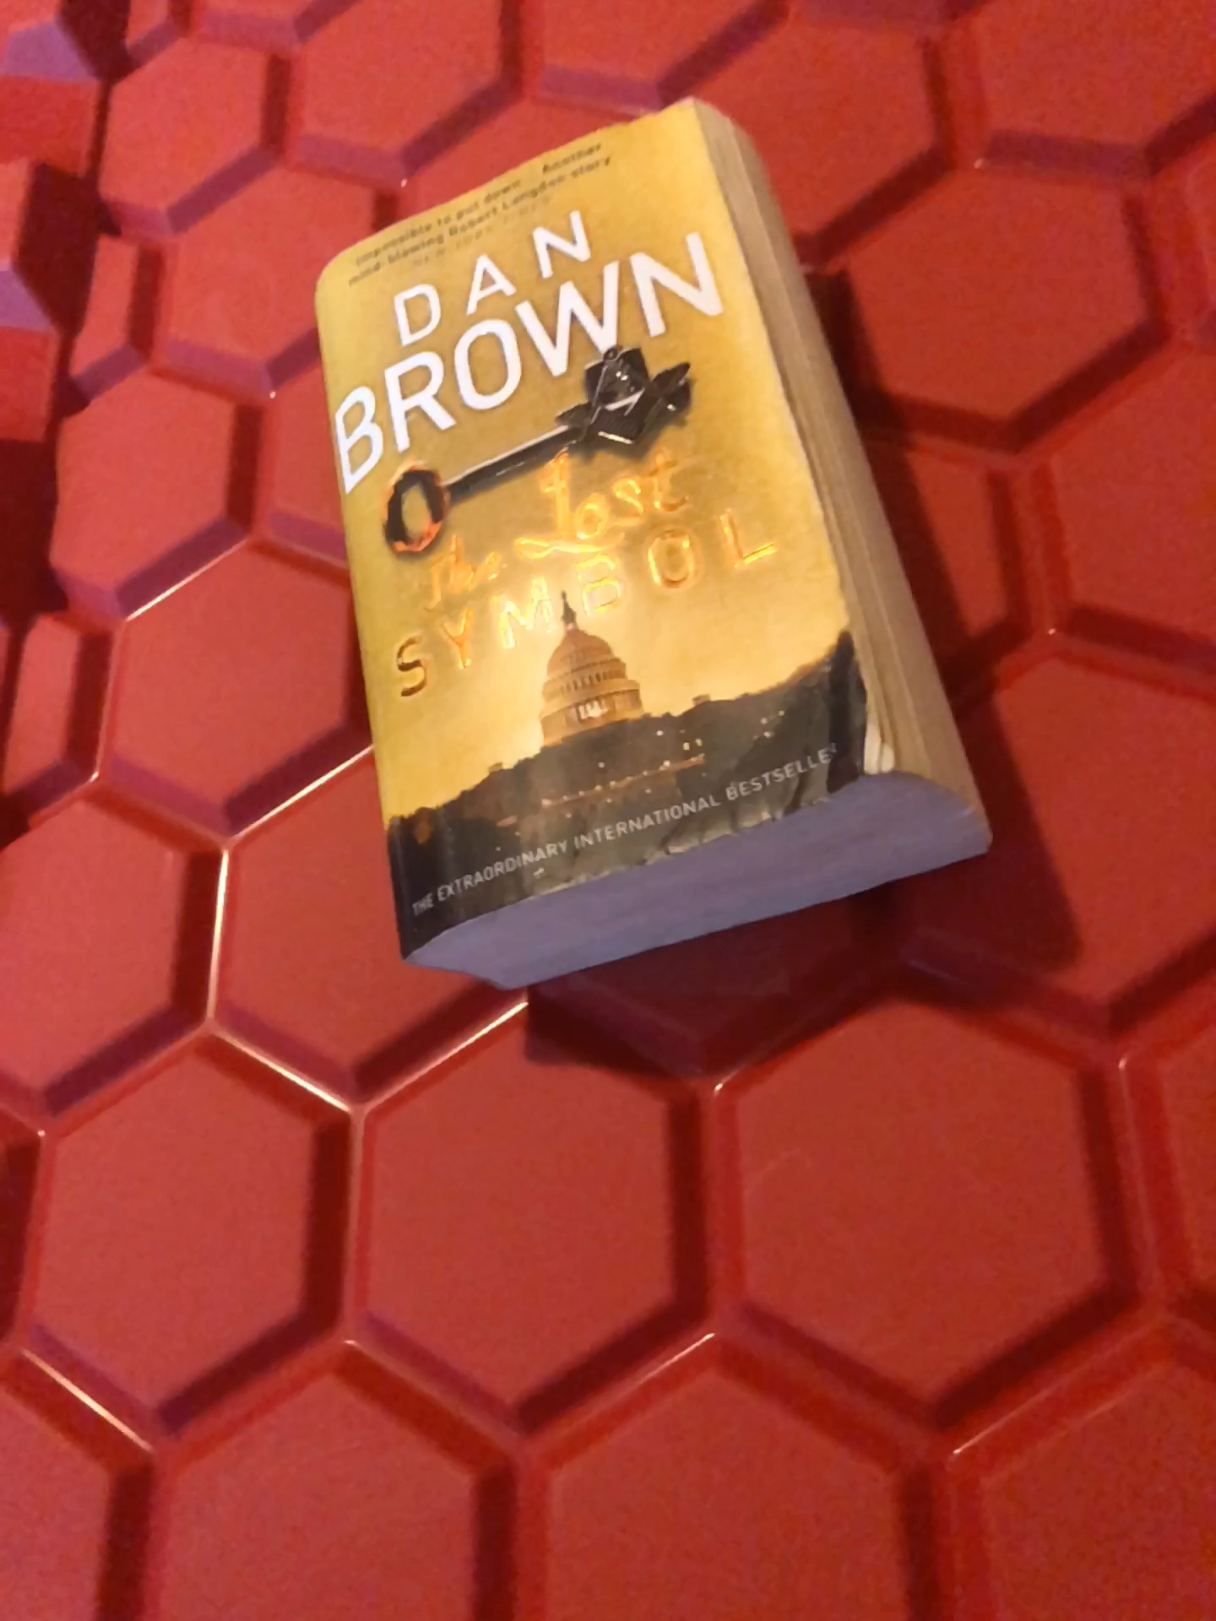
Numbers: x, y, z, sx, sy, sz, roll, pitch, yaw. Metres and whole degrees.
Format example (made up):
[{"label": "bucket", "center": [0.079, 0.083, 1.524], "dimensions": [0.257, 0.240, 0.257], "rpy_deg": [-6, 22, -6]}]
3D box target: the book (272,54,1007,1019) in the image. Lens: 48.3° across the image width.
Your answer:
[{"label": "book", "center": [-0.001, -0.062, 0.304], "dimensions": [0.122, 0.051, 0.183], "rpy_deg": [-18, 64, 14]}]
